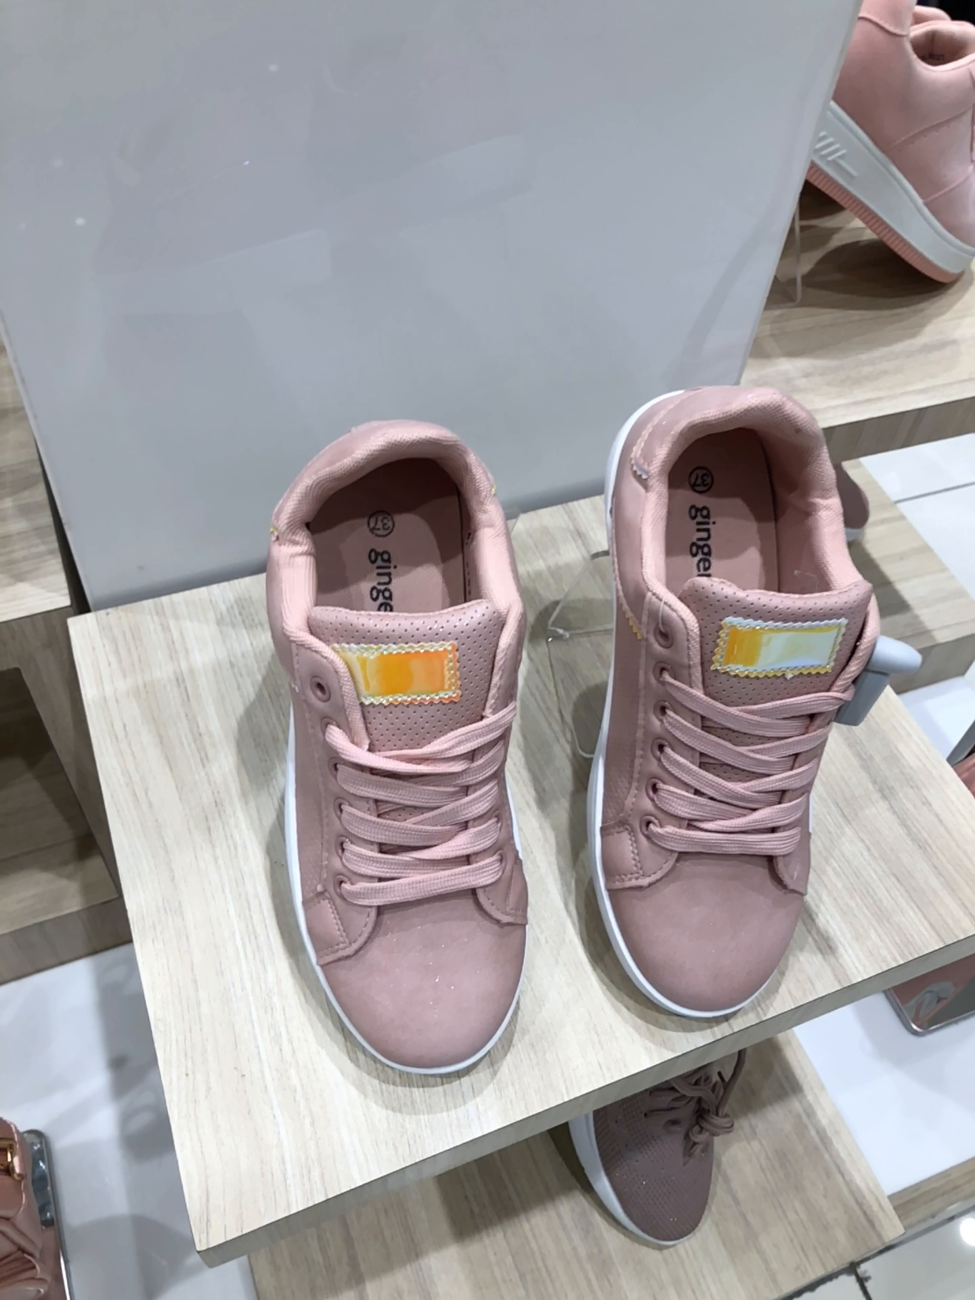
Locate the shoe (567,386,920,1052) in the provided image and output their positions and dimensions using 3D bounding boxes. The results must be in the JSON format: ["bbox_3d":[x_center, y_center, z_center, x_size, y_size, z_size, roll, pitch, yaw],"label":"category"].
[{"bbox_3d":[0.096,0.024,0.448,0.100,0.250,0.100,2,9,-4],"label":"shoe"}]

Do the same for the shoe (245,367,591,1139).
[{"bbox_3d":[-0.029,0.033,0.423,0.100,0.100,0.260,-5,92,-8],"label":"shoe"}]
